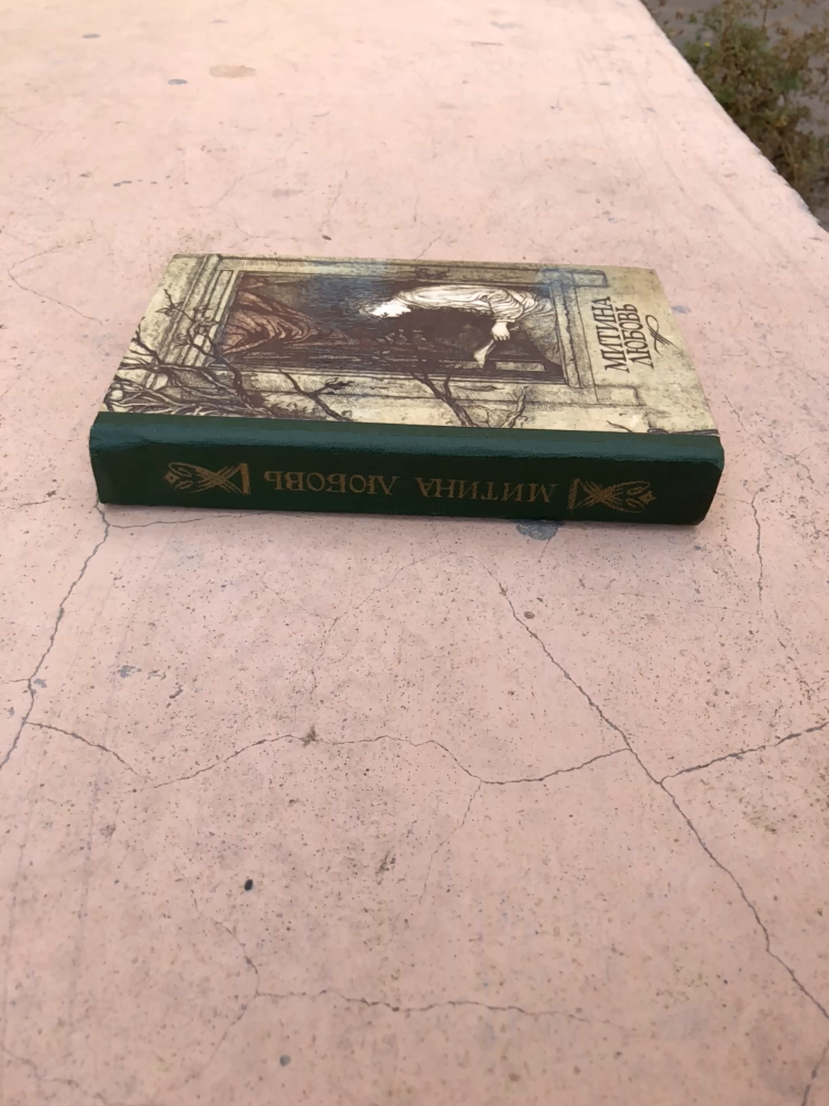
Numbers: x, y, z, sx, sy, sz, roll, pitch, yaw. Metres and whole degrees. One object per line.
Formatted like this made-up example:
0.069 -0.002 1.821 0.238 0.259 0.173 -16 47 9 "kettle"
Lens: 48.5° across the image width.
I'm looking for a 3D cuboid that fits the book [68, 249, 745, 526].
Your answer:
-0.002 -0.069 0.352 0.213 0.035 0.135 1 41 0 "book"
